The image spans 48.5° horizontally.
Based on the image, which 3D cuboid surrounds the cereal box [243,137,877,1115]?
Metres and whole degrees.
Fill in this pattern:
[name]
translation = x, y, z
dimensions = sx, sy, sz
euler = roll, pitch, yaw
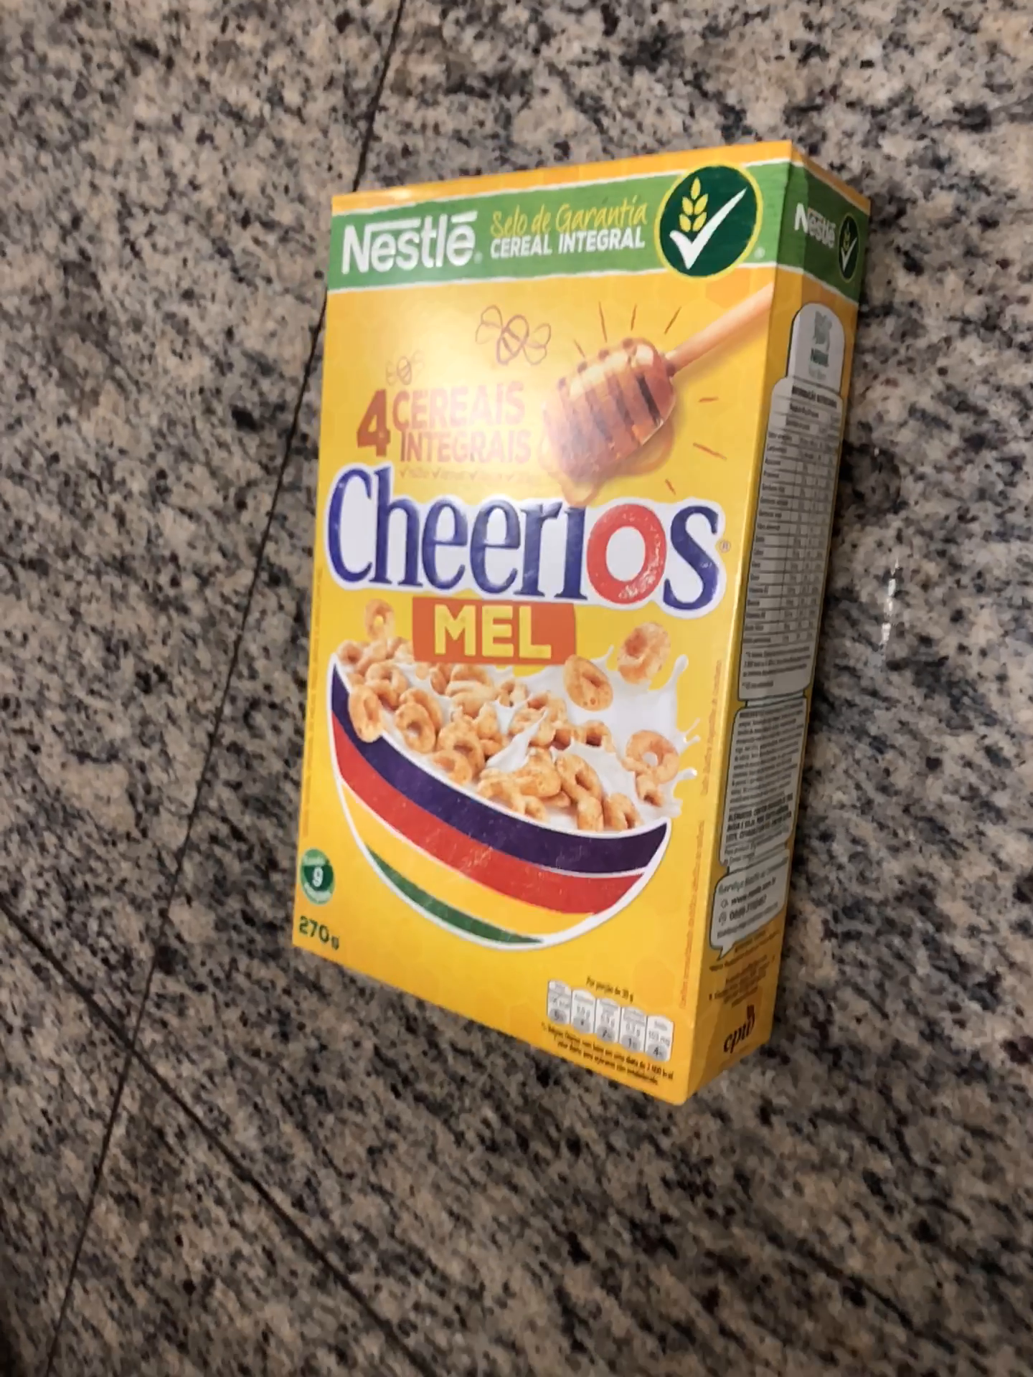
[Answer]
[cereal box]
translation = 0.002, -0.022, 0.353
dimensions = 0.171, 0.060, 0.240
euler = 10, 99, 35
